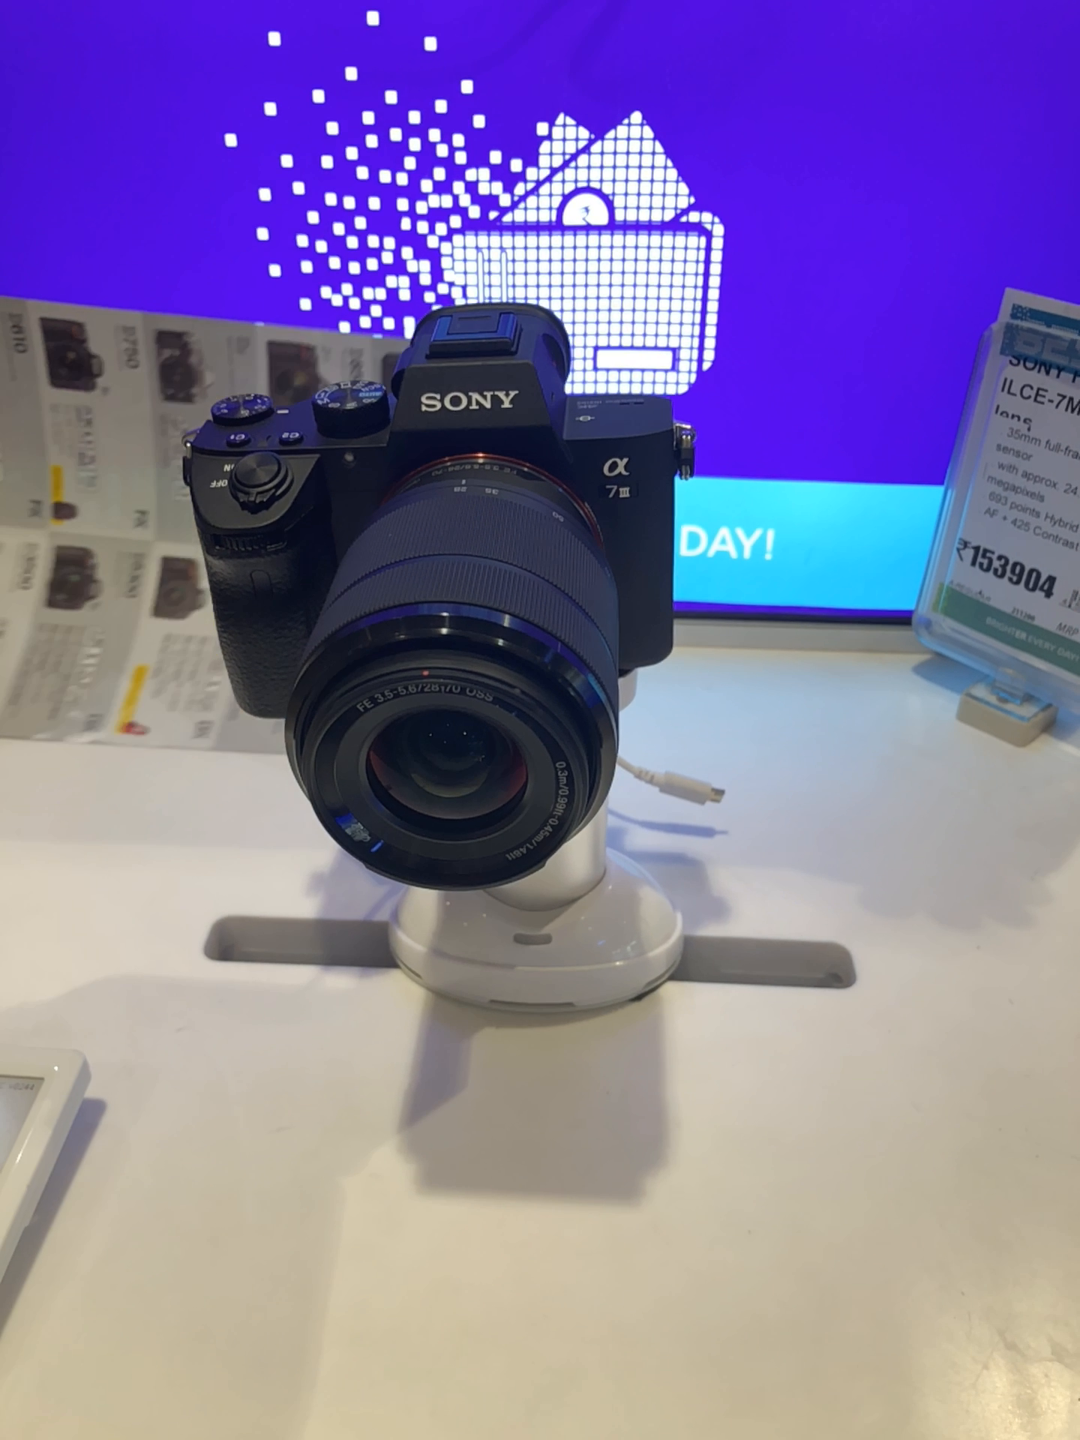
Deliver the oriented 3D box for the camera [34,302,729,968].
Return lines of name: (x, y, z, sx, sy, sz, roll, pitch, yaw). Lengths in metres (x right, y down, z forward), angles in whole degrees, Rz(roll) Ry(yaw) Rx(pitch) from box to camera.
camera: (-0.032, -0.028, 0.292, 0.120, 0.109, 0.128, -2, 34, -4)
